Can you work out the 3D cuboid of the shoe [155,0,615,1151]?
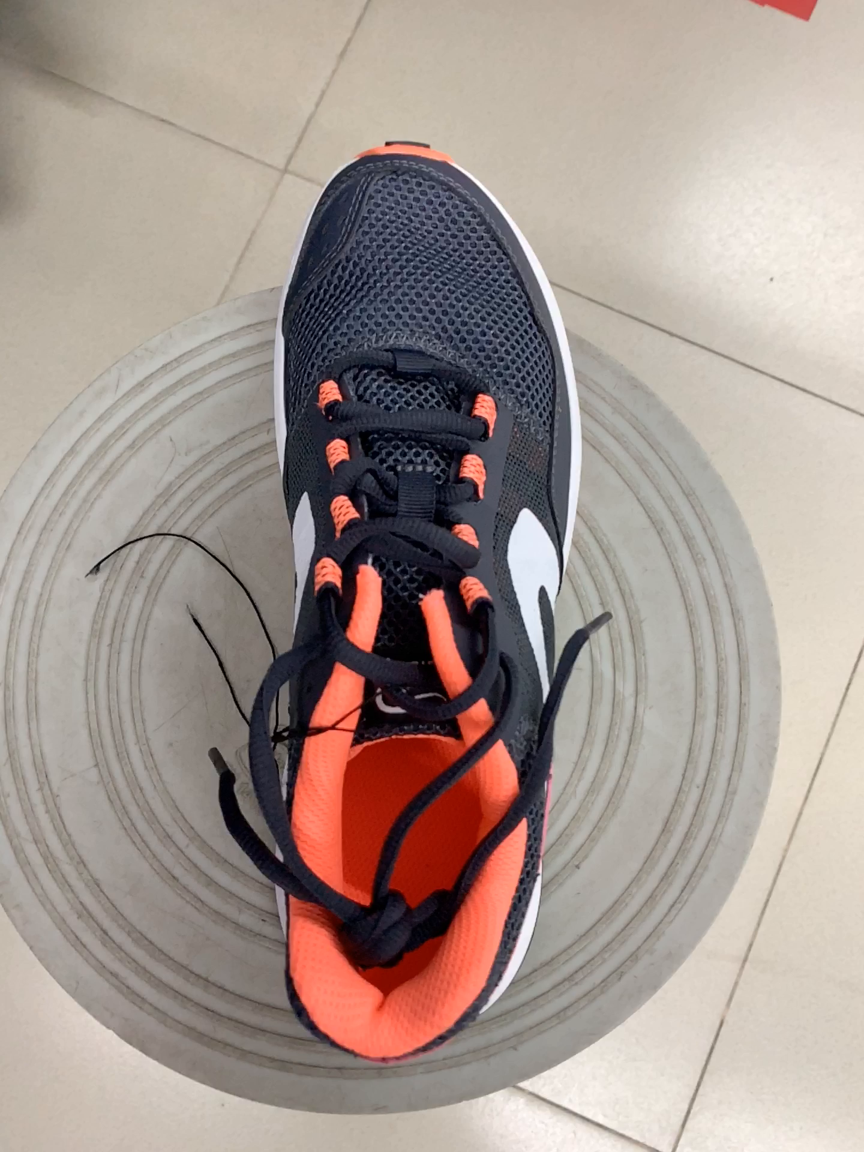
[{"bbox_3d":[-0.007,-0.006,0.276,0.100,0.120,0.290,2,83,0],"label":"shoe"}]
